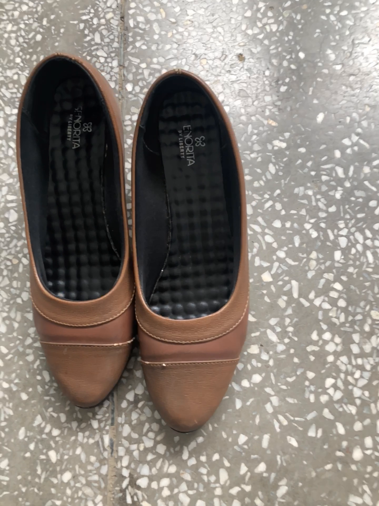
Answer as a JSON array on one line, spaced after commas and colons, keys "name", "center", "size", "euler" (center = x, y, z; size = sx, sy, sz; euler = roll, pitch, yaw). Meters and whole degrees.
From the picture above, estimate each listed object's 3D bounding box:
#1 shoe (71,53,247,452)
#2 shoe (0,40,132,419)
[{"name": "shoe", "center": [-0.016, -0.001, 0.296], "size": [0.092, 0.096, 0.241], "euler": [-3, 75, 4]}, {"name": "shoe", "center": [-0.100, -0.015, 0.308], "size": [0.090, 0.096, 0.244], "euler": [-2, 75, 4]}]
